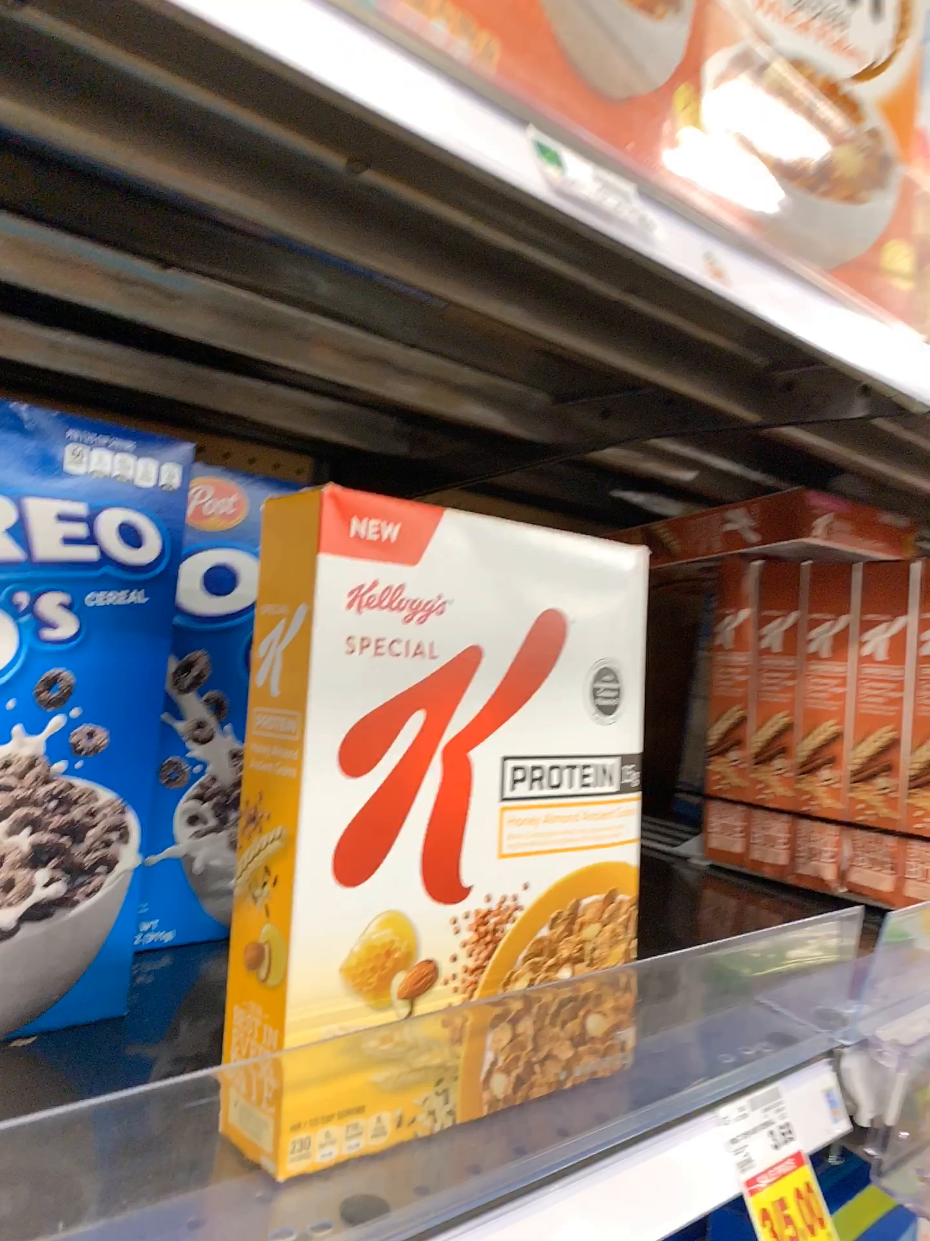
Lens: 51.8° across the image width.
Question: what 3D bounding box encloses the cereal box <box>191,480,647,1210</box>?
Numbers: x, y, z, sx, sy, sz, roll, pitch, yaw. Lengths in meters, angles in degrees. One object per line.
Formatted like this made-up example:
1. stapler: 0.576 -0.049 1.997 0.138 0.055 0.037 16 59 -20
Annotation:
1. cereal box: -0.006 0.082 0.412 0.200 0.250 0.040 6 -5 -39
